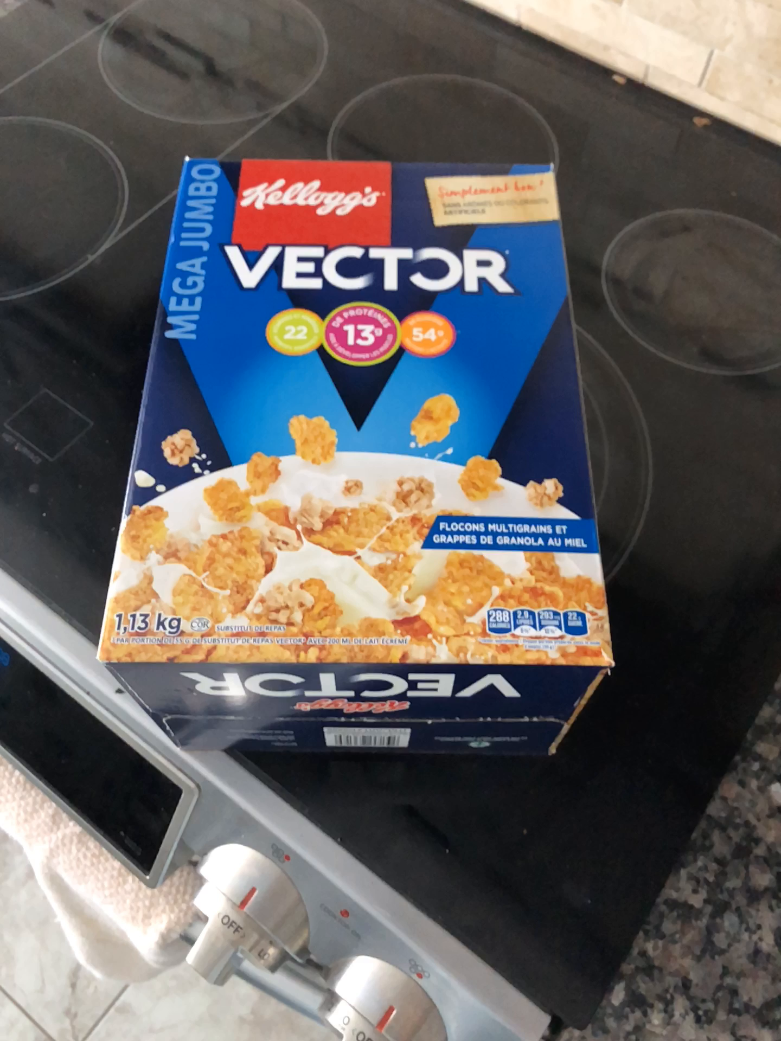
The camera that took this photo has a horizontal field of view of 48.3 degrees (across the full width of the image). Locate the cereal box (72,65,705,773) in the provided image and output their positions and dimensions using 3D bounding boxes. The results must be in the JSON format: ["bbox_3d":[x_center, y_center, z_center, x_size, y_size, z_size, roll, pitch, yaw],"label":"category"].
[{"bbox_3d":[-0.001,-0.045,0.444,0.220,0.170,0.310,1,65,-2],"label":"cereal box"}]
